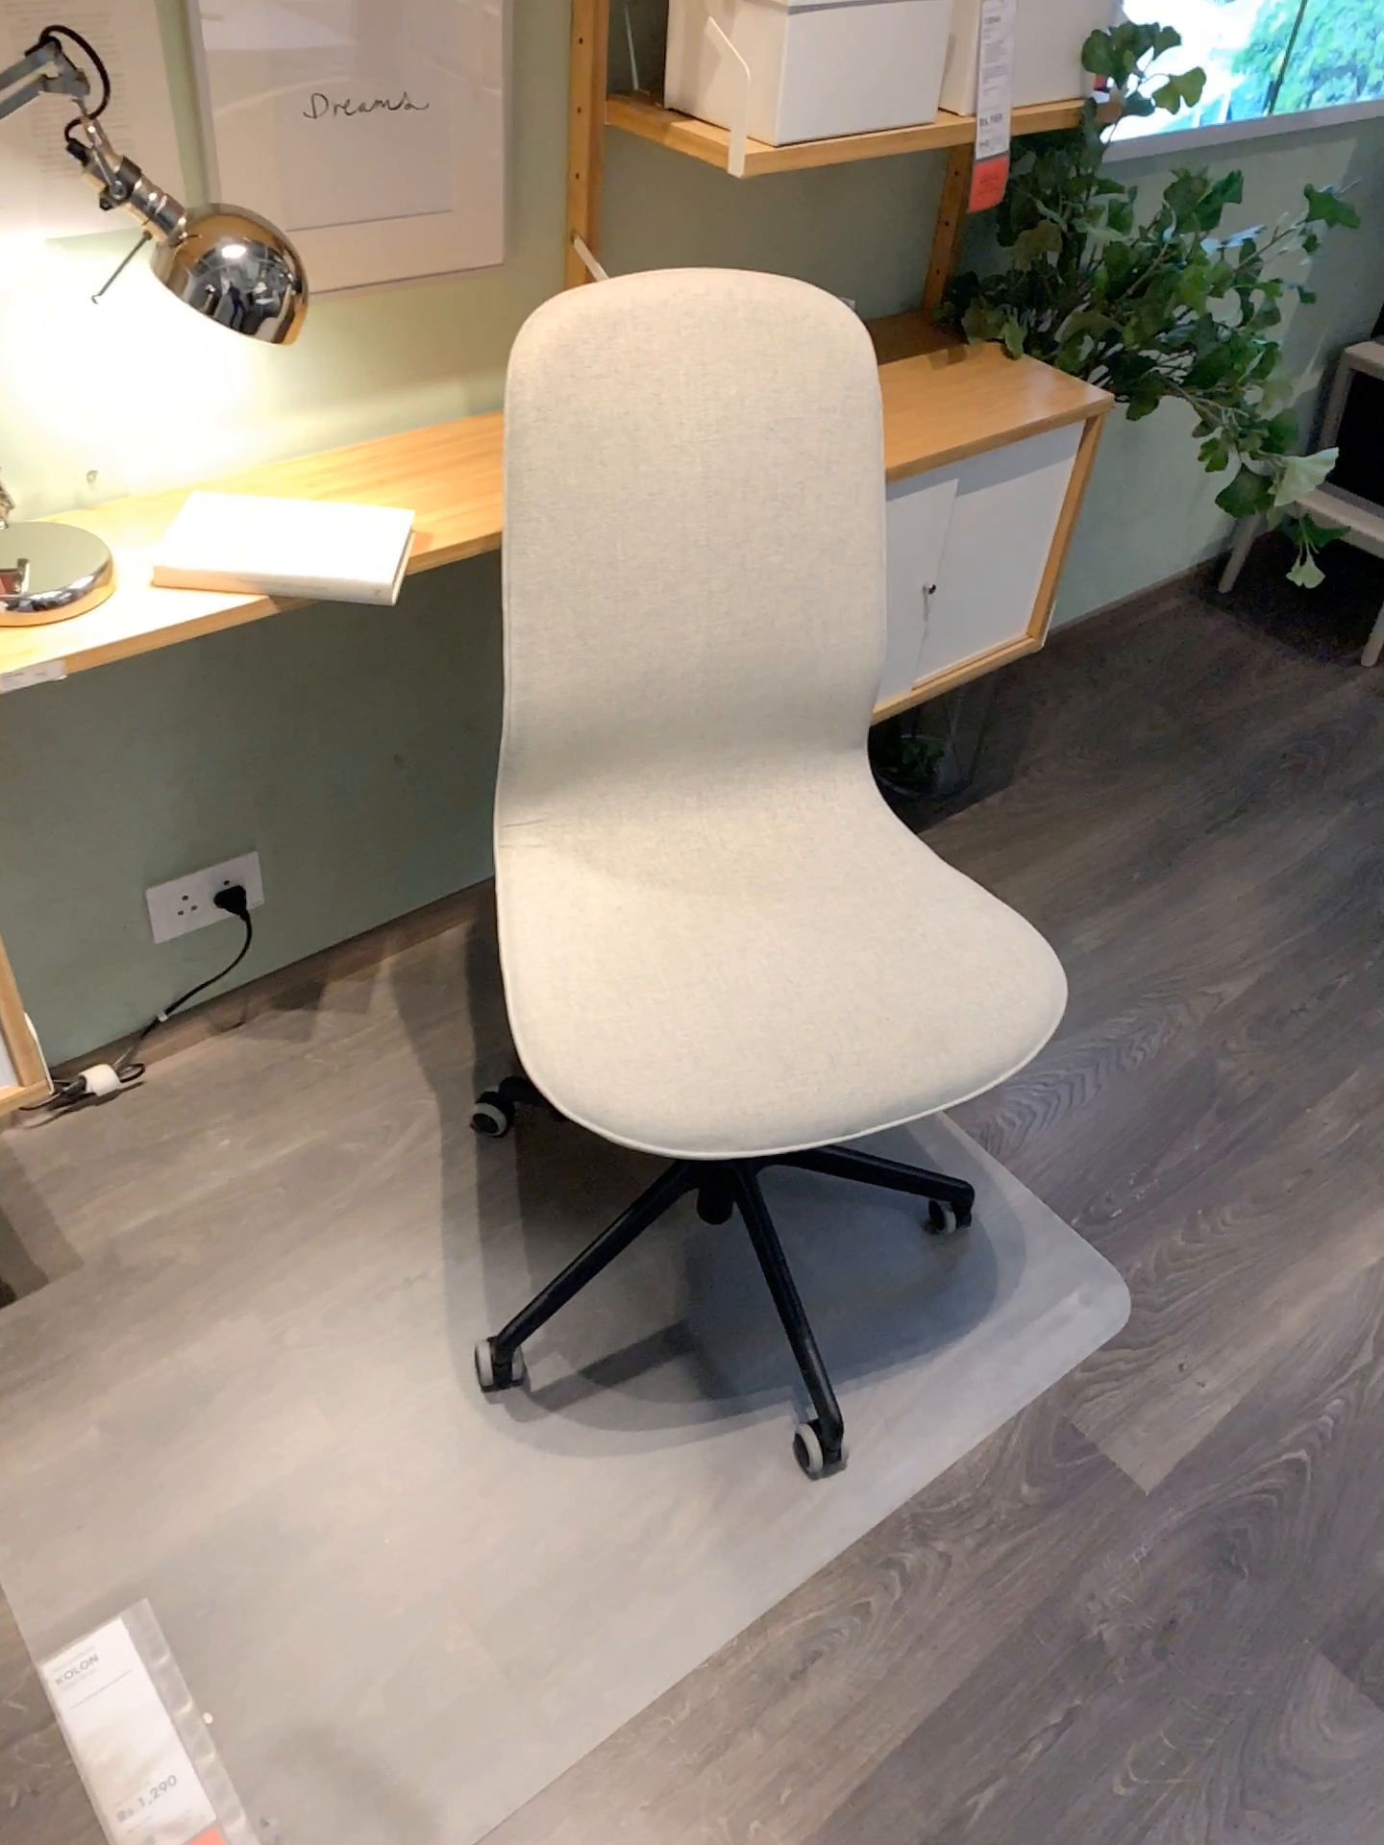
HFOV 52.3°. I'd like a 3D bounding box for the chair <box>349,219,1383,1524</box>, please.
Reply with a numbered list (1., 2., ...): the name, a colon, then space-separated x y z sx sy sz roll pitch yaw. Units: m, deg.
1. chair: 0.078 -0.040 1.318 0.620 0.966 0.622 -10 45 -18
